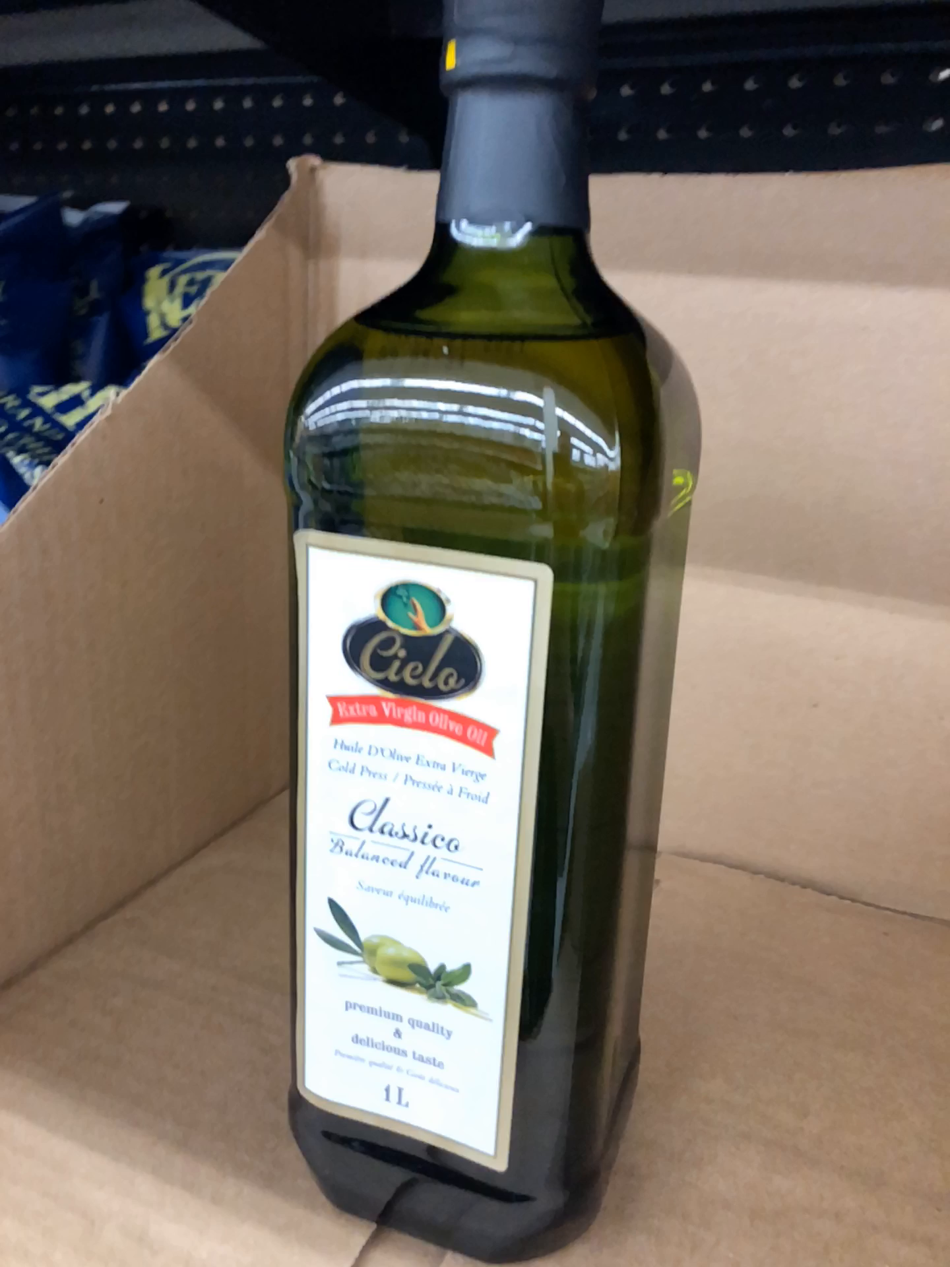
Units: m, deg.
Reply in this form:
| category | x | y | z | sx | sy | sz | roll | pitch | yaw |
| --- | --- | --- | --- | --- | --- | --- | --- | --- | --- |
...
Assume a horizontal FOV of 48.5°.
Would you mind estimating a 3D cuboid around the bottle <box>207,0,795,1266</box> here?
| category | x | y | z | sx | sy | sz | roll | pitch | yaw |
| --- | --- | --- | --- | --- | --- | --- | --- | --- | --- |
| bottle | 0.007 | 0.002 | 0.248 | 0.090 | 0.288 | 0.080 | 9 | 20 | 21 |
